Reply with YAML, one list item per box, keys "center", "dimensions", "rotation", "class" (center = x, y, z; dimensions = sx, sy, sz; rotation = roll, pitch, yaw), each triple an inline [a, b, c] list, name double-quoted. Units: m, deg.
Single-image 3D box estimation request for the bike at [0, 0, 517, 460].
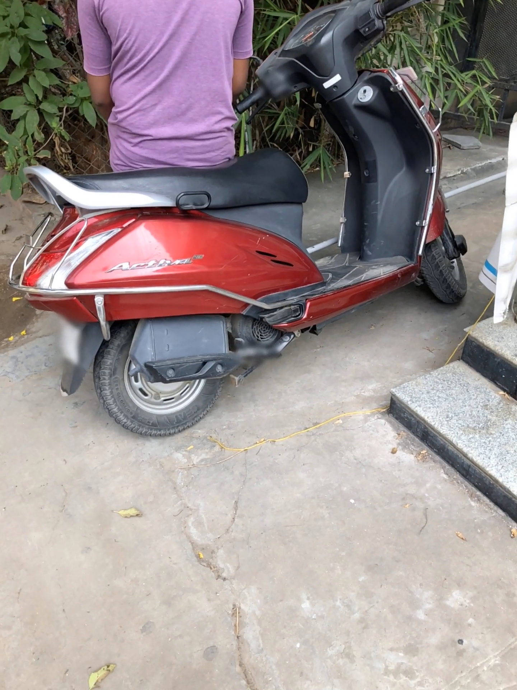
- center: [0.074, -0.546, 1.800]
  dimensions: [1.483, 1.056, 0.573]
  rotation: [-27, 43, -30]
  class: "bike"
